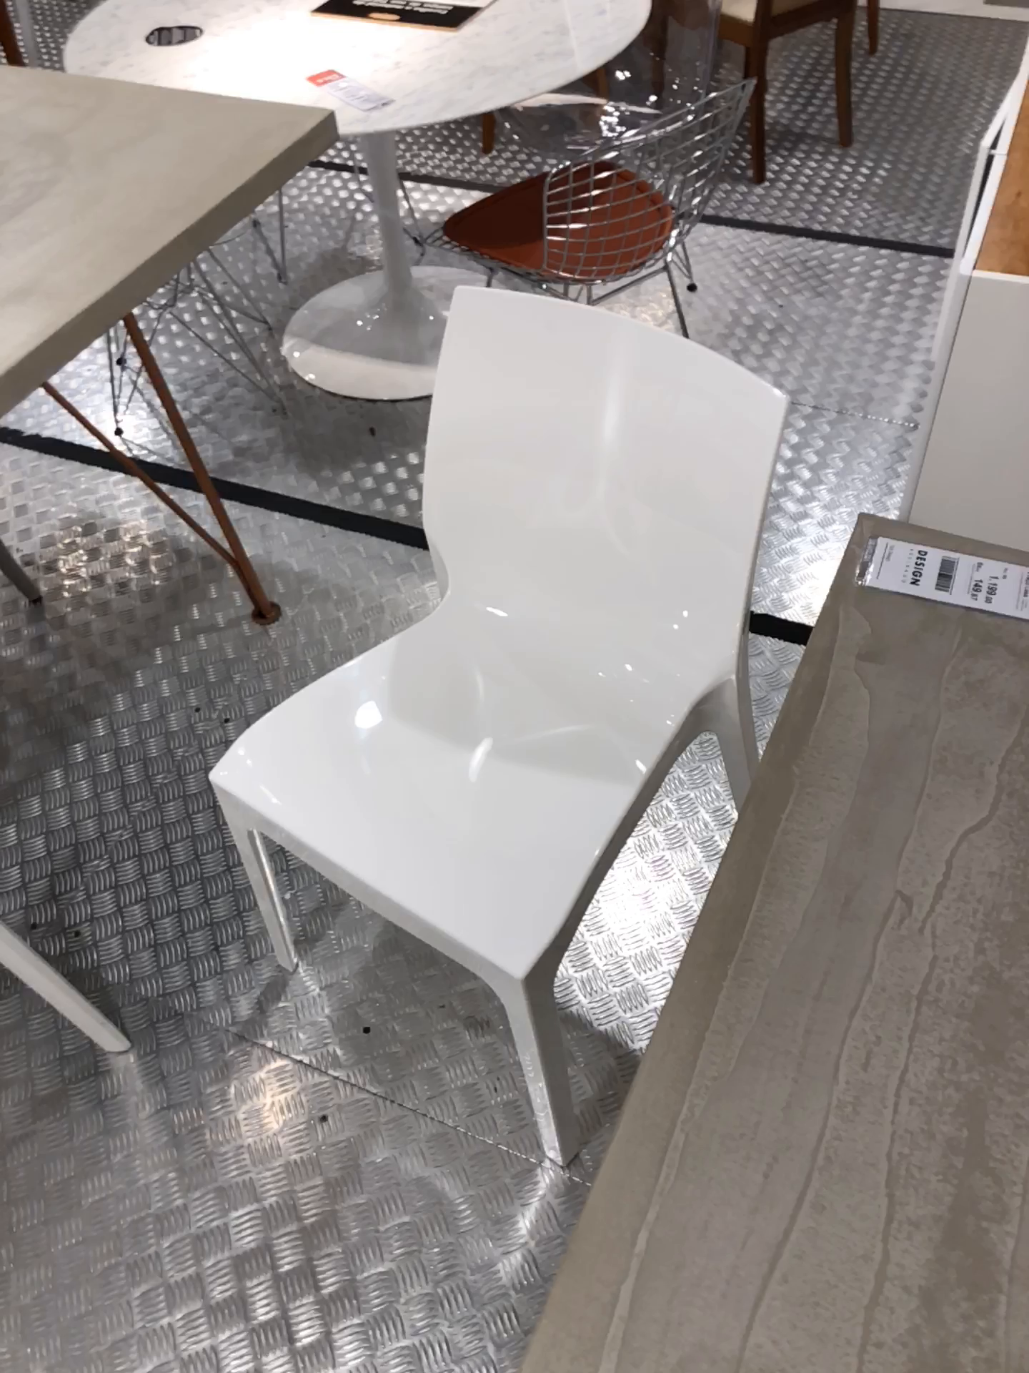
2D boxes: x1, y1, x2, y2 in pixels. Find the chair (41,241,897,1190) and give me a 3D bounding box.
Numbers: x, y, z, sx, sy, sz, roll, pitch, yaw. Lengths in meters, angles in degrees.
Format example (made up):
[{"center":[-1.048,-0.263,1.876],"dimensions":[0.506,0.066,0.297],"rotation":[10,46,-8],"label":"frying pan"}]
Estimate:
[{"center":[-0.005,0.047,1.264],"dimensions":[0.521,0.765,0.542],"rotation":[27,56,26],"label":"chair"}]
